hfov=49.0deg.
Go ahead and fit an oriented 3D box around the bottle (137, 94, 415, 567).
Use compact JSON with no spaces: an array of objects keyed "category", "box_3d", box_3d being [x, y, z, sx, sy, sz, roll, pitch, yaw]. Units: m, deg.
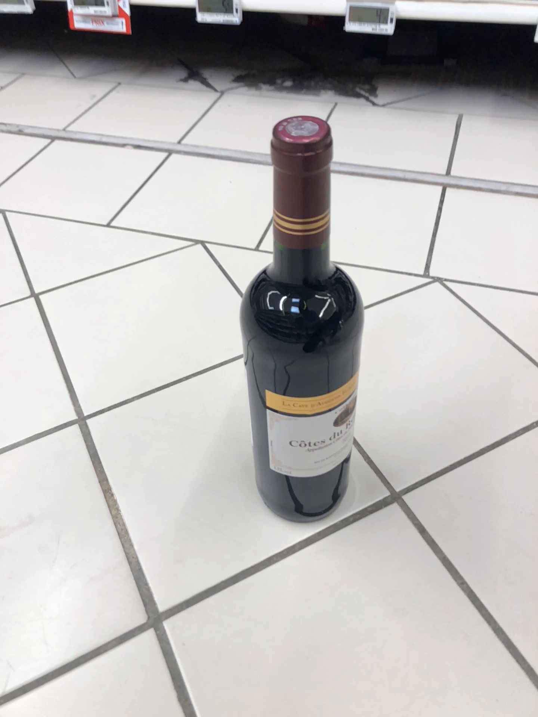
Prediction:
[{"category":"bottle","box_3d":[0.010,0.005,0.372,0.090,0.288,0.091,-2,45,2]}]
